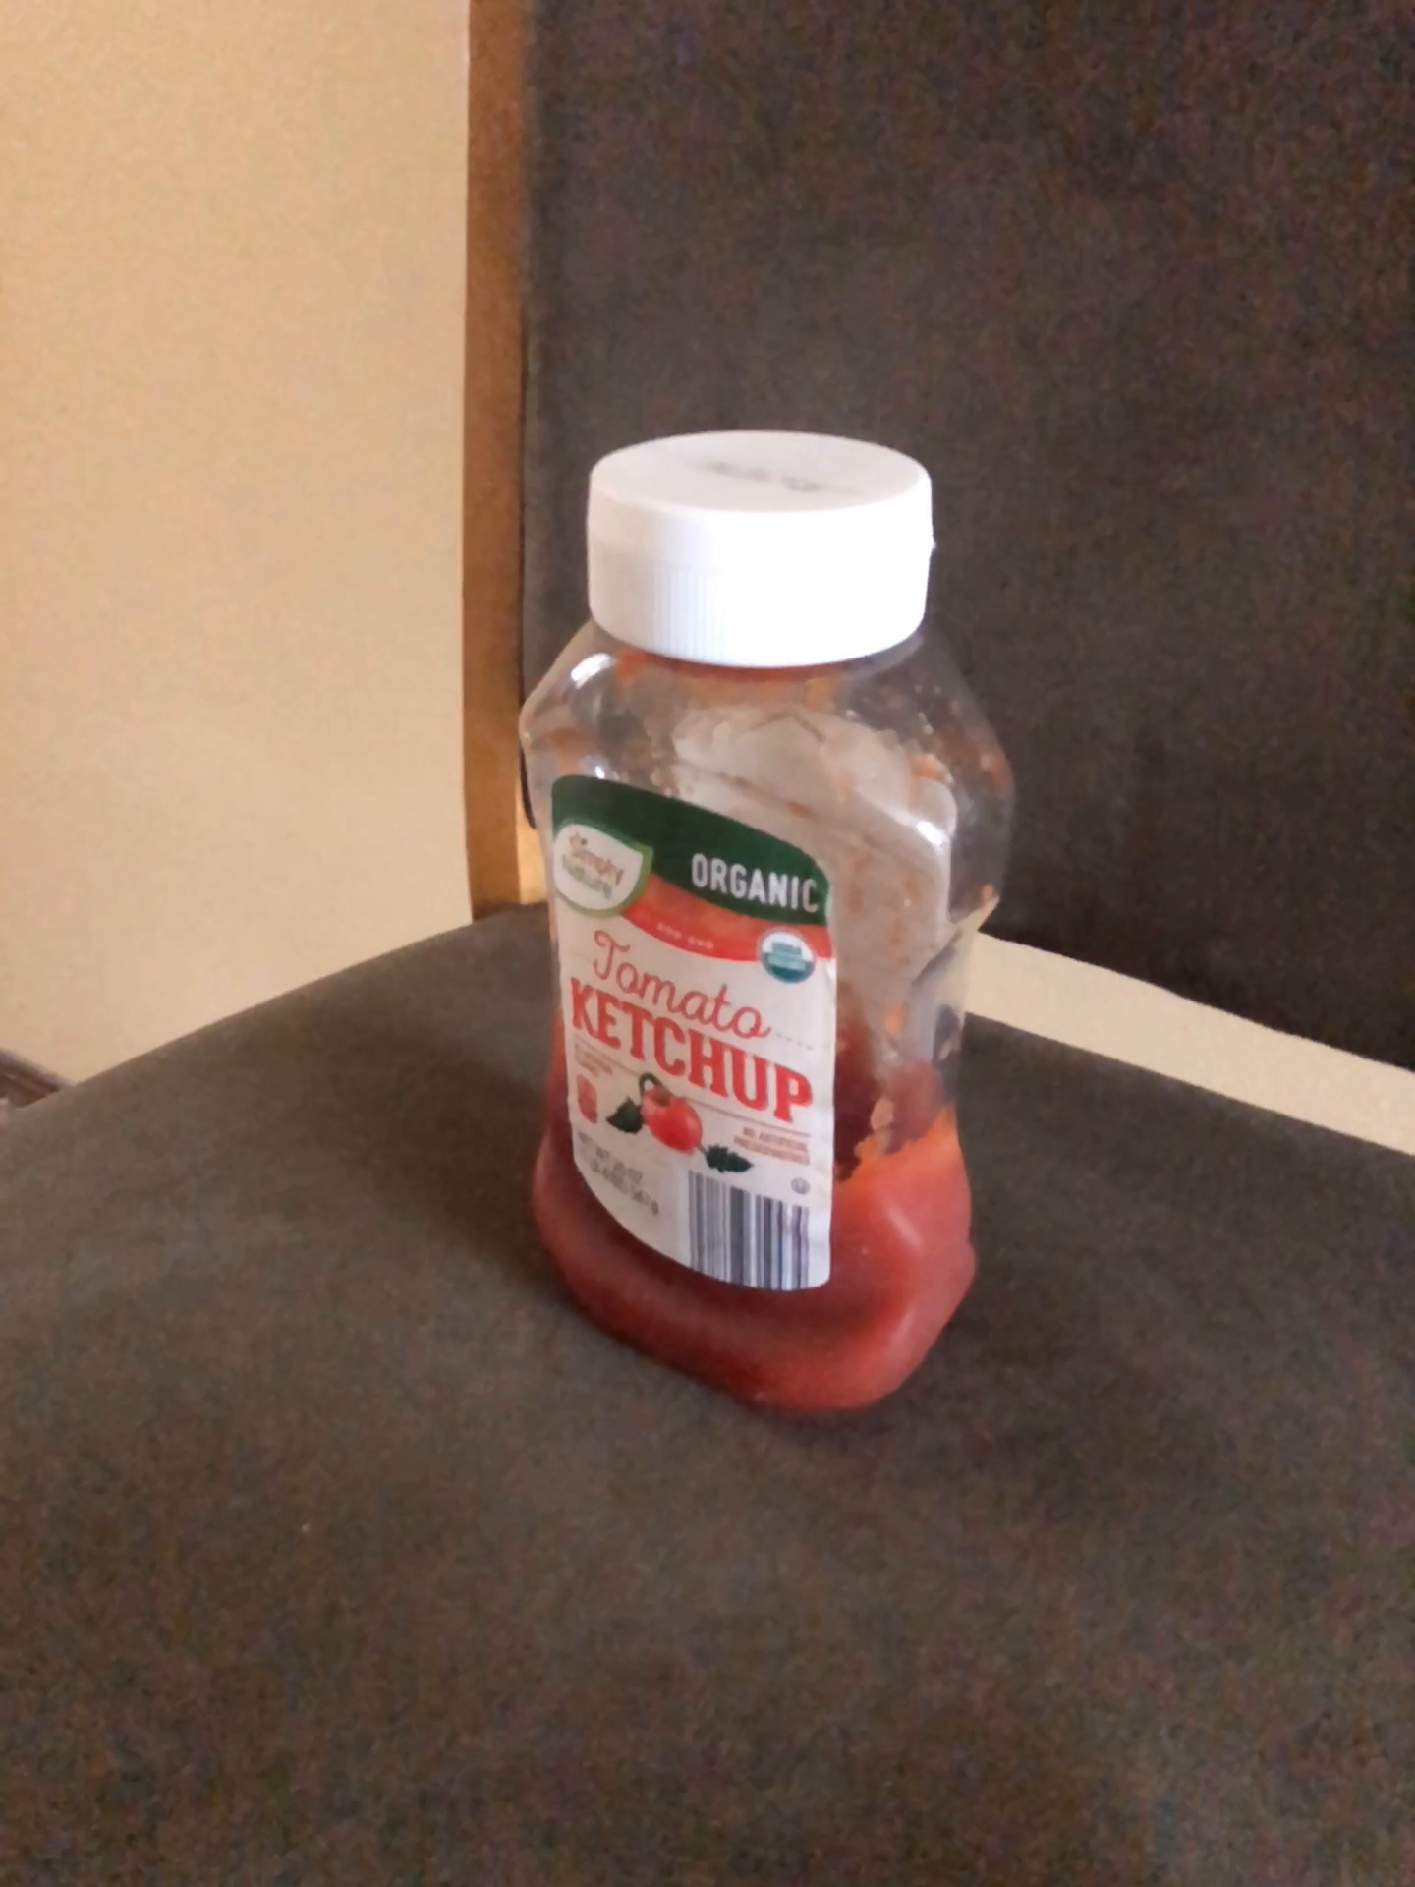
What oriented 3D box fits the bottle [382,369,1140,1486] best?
[{"bbox_3d":[0.007,-0.005,0.282,0.100,0.170,0.060,21,36,32],"label":"bottle"}]
